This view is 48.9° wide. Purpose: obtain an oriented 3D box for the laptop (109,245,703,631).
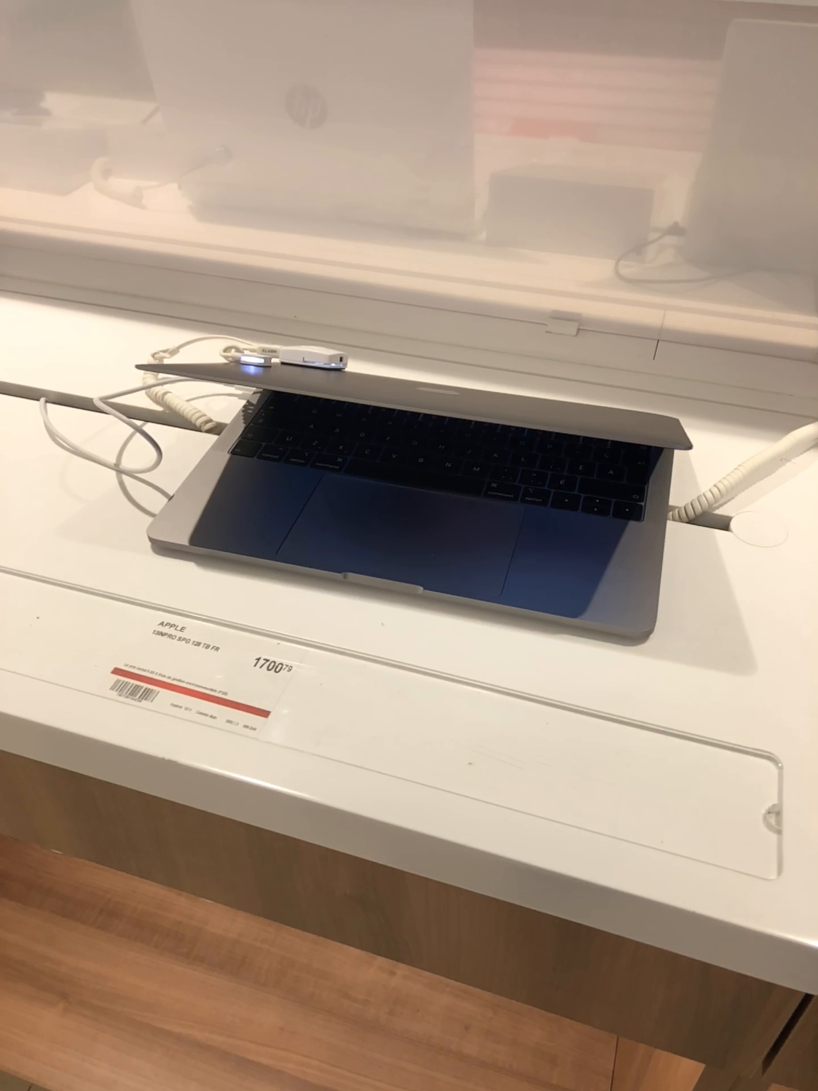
[{"bbox_3d":[0.012,-0.082,0.558,0.304,0.104,0.202,10,42,12],"label":"laptop"}]
